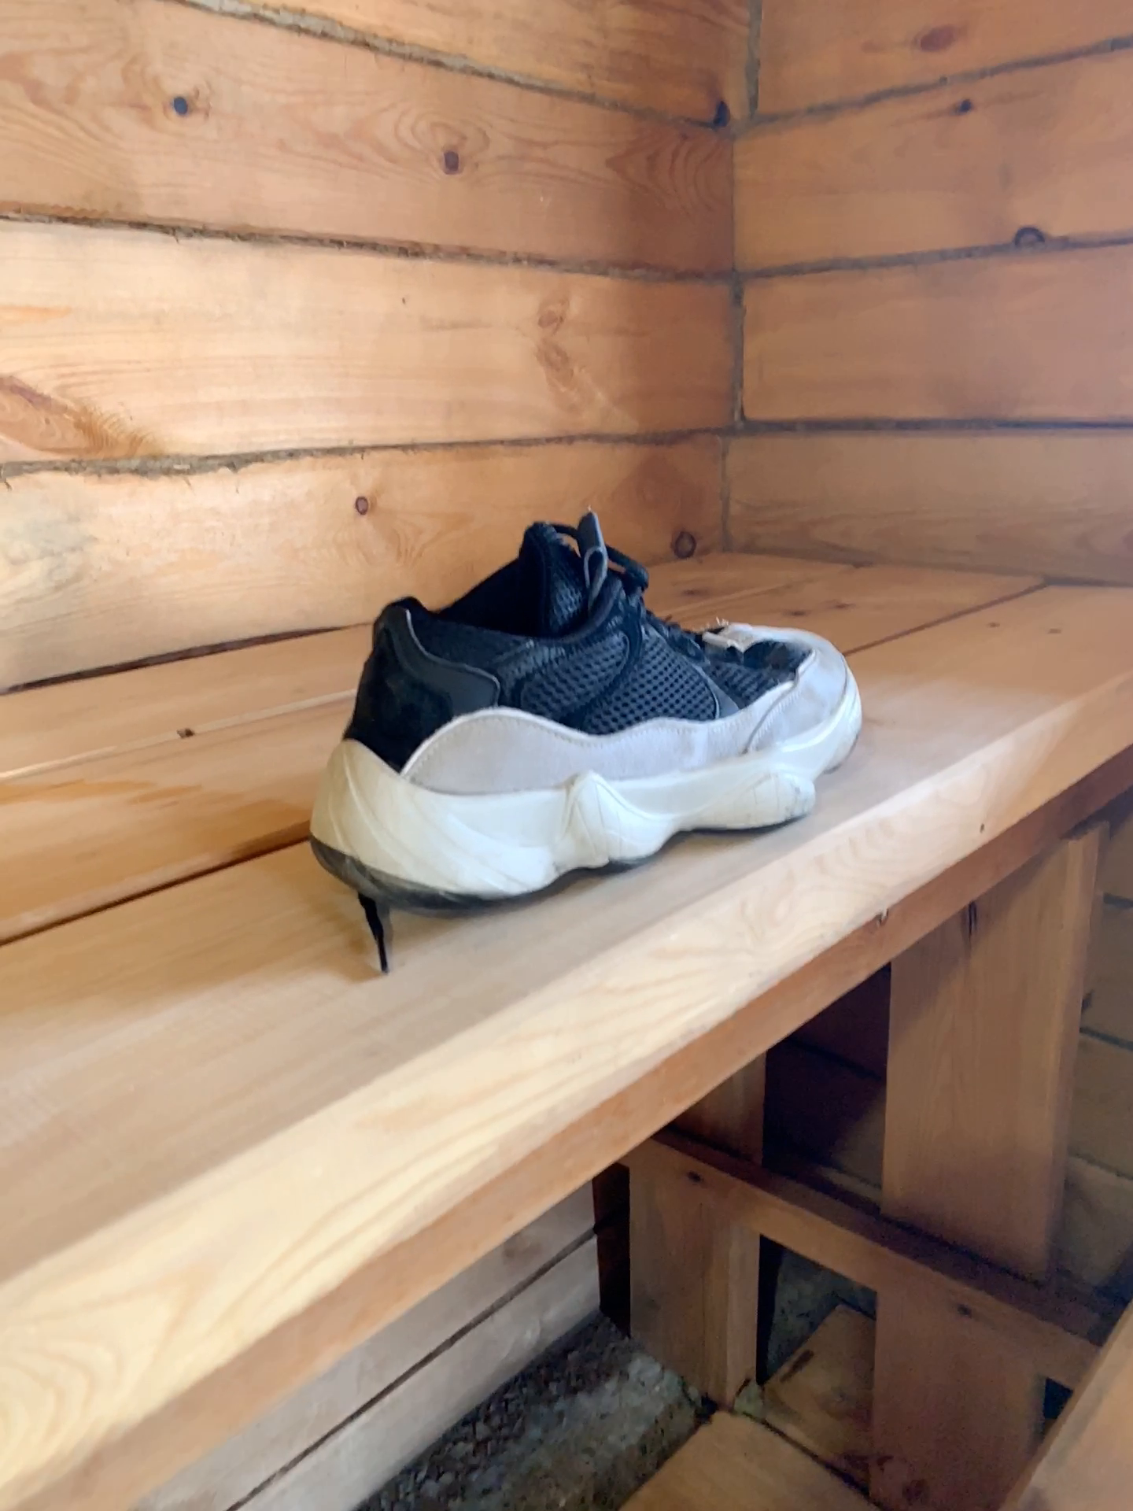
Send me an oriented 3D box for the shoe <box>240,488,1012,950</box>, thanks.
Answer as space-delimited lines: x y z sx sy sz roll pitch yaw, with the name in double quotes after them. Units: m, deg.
0.034 -0.036 0.440 0.271 0.109 0.120 -13 20 -36 "shoe"
